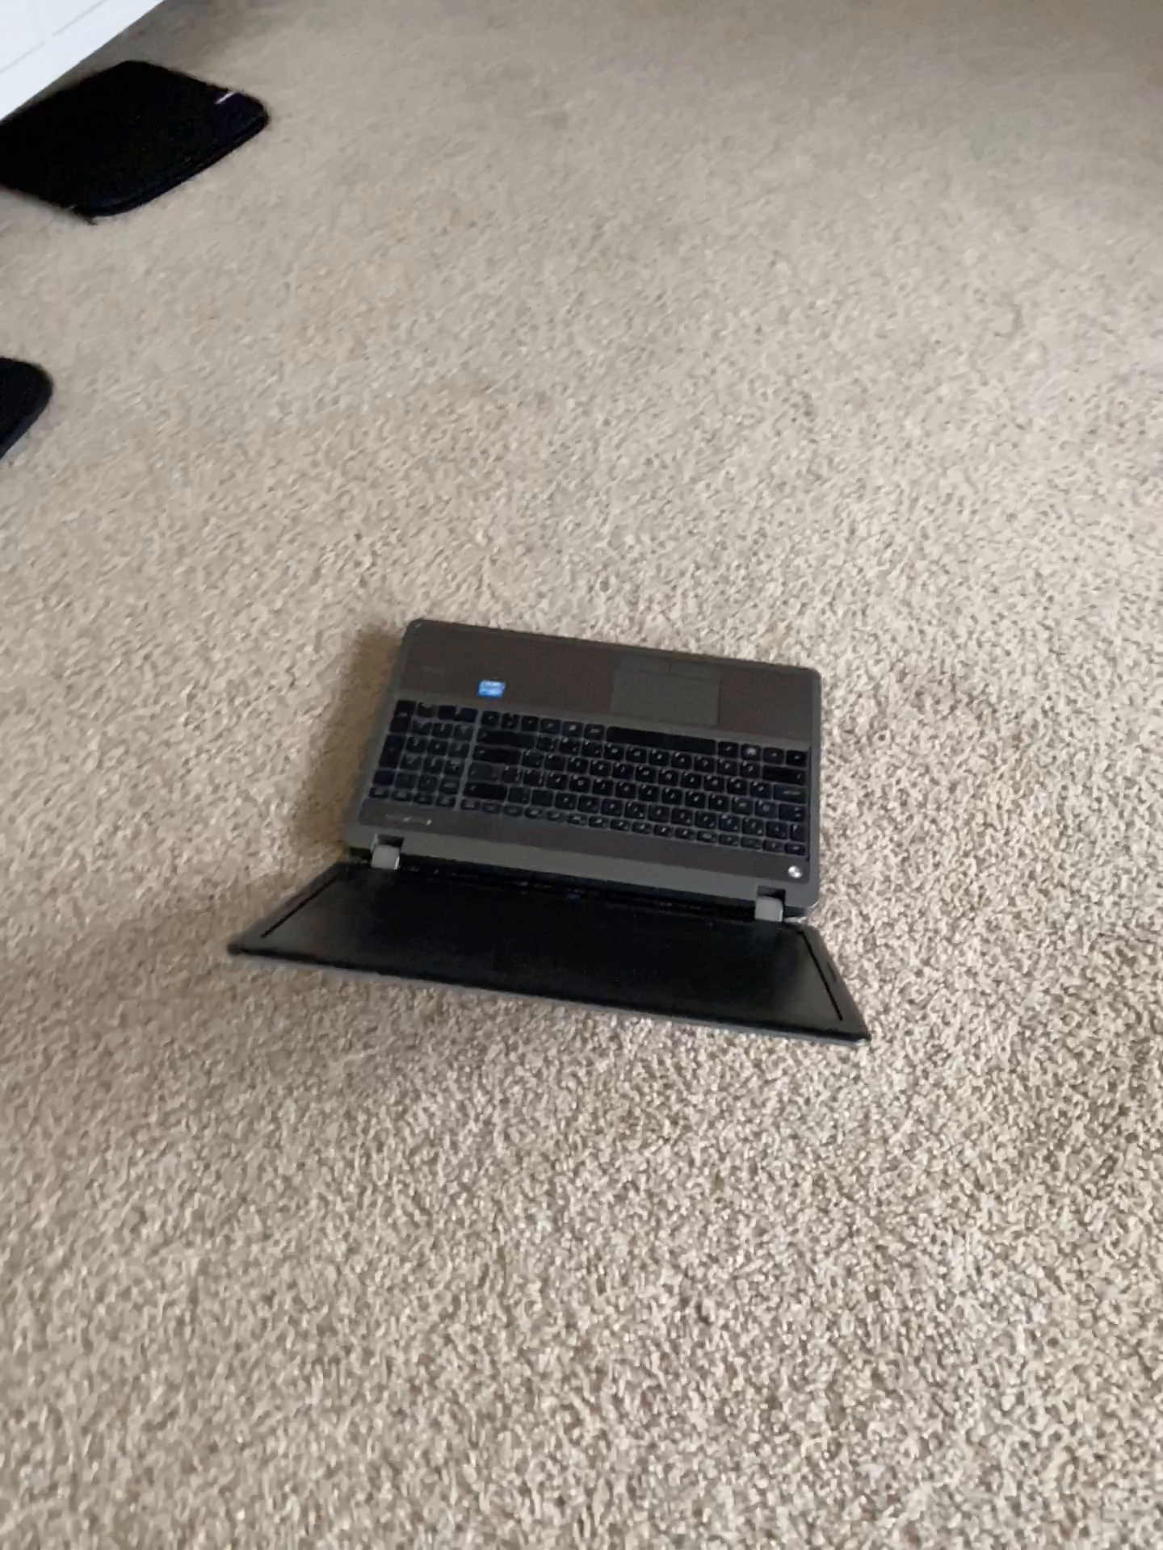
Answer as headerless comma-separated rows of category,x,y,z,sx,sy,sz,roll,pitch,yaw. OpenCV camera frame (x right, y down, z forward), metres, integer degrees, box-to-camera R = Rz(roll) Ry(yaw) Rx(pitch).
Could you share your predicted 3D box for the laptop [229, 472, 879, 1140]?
laptop,0.008,0.000,0.870,0.374,0.162,0.437,7,52,3
